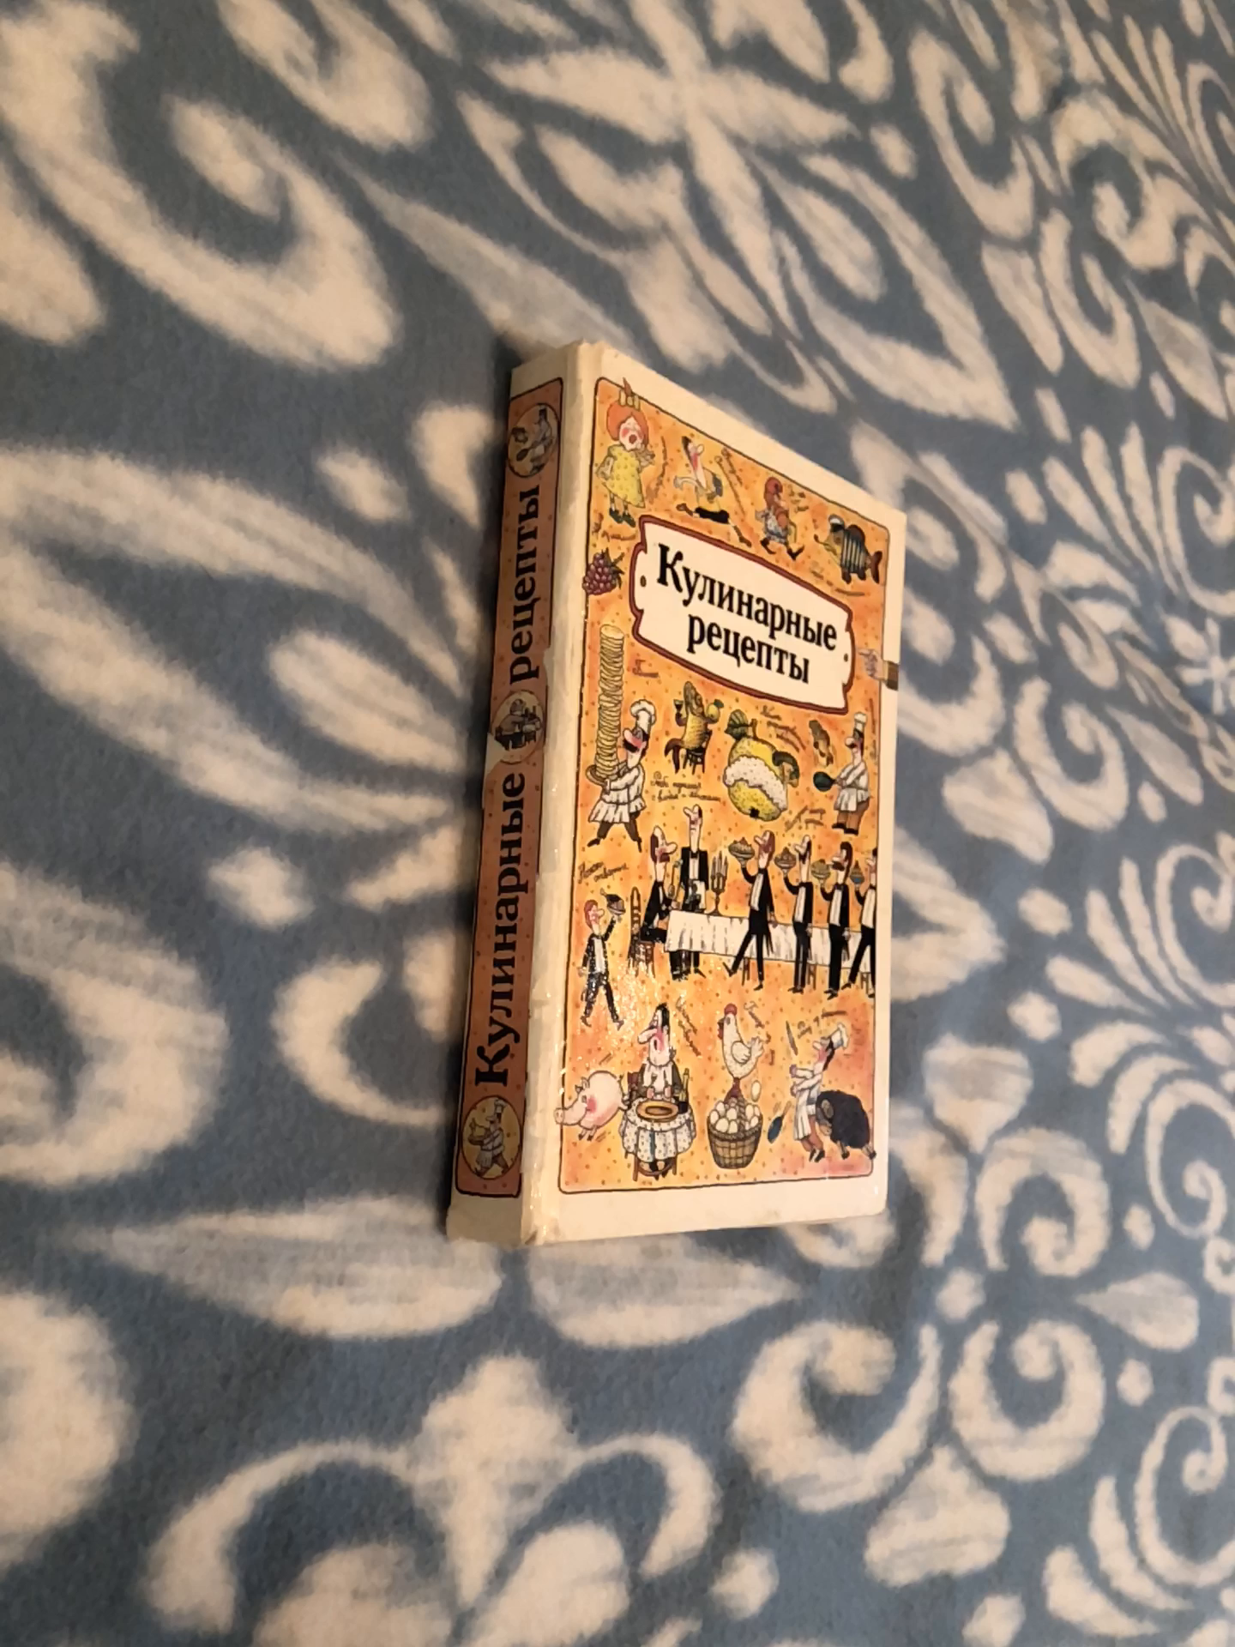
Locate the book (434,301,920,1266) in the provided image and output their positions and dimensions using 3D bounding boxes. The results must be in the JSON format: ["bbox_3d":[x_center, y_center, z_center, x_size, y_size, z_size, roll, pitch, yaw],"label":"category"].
[{"bbox_3d":[0.026,-0.003,0.366,0.142,0.032,0.220,12,77,-44],"label":"book"}]
